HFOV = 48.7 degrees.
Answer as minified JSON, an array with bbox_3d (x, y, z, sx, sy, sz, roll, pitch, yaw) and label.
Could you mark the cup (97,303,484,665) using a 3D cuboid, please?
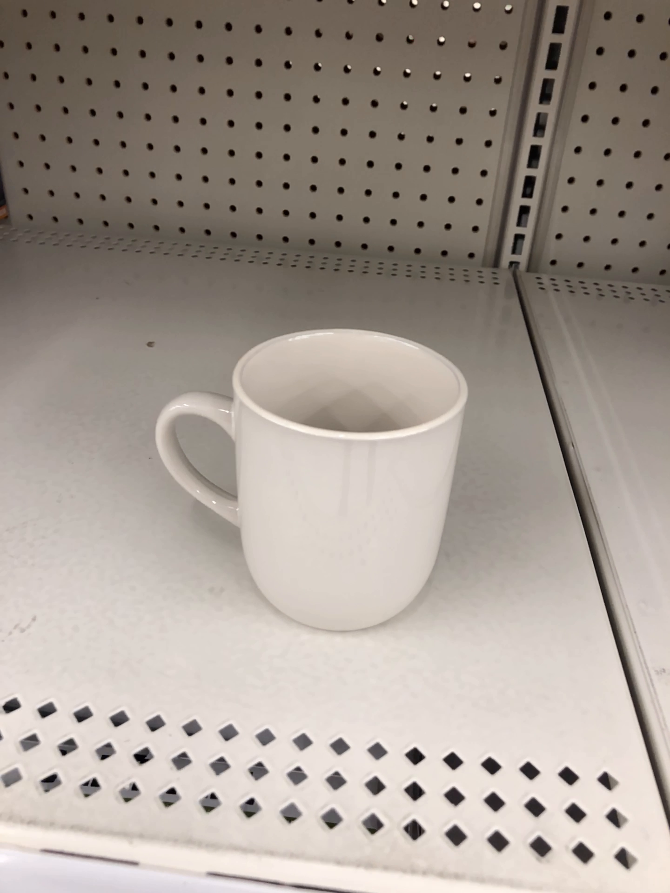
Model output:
[{"bbox_3d":[-0.012,0.009,0.292,0.121,0.090,0.087,10,31,10],"label":"cup"}]
